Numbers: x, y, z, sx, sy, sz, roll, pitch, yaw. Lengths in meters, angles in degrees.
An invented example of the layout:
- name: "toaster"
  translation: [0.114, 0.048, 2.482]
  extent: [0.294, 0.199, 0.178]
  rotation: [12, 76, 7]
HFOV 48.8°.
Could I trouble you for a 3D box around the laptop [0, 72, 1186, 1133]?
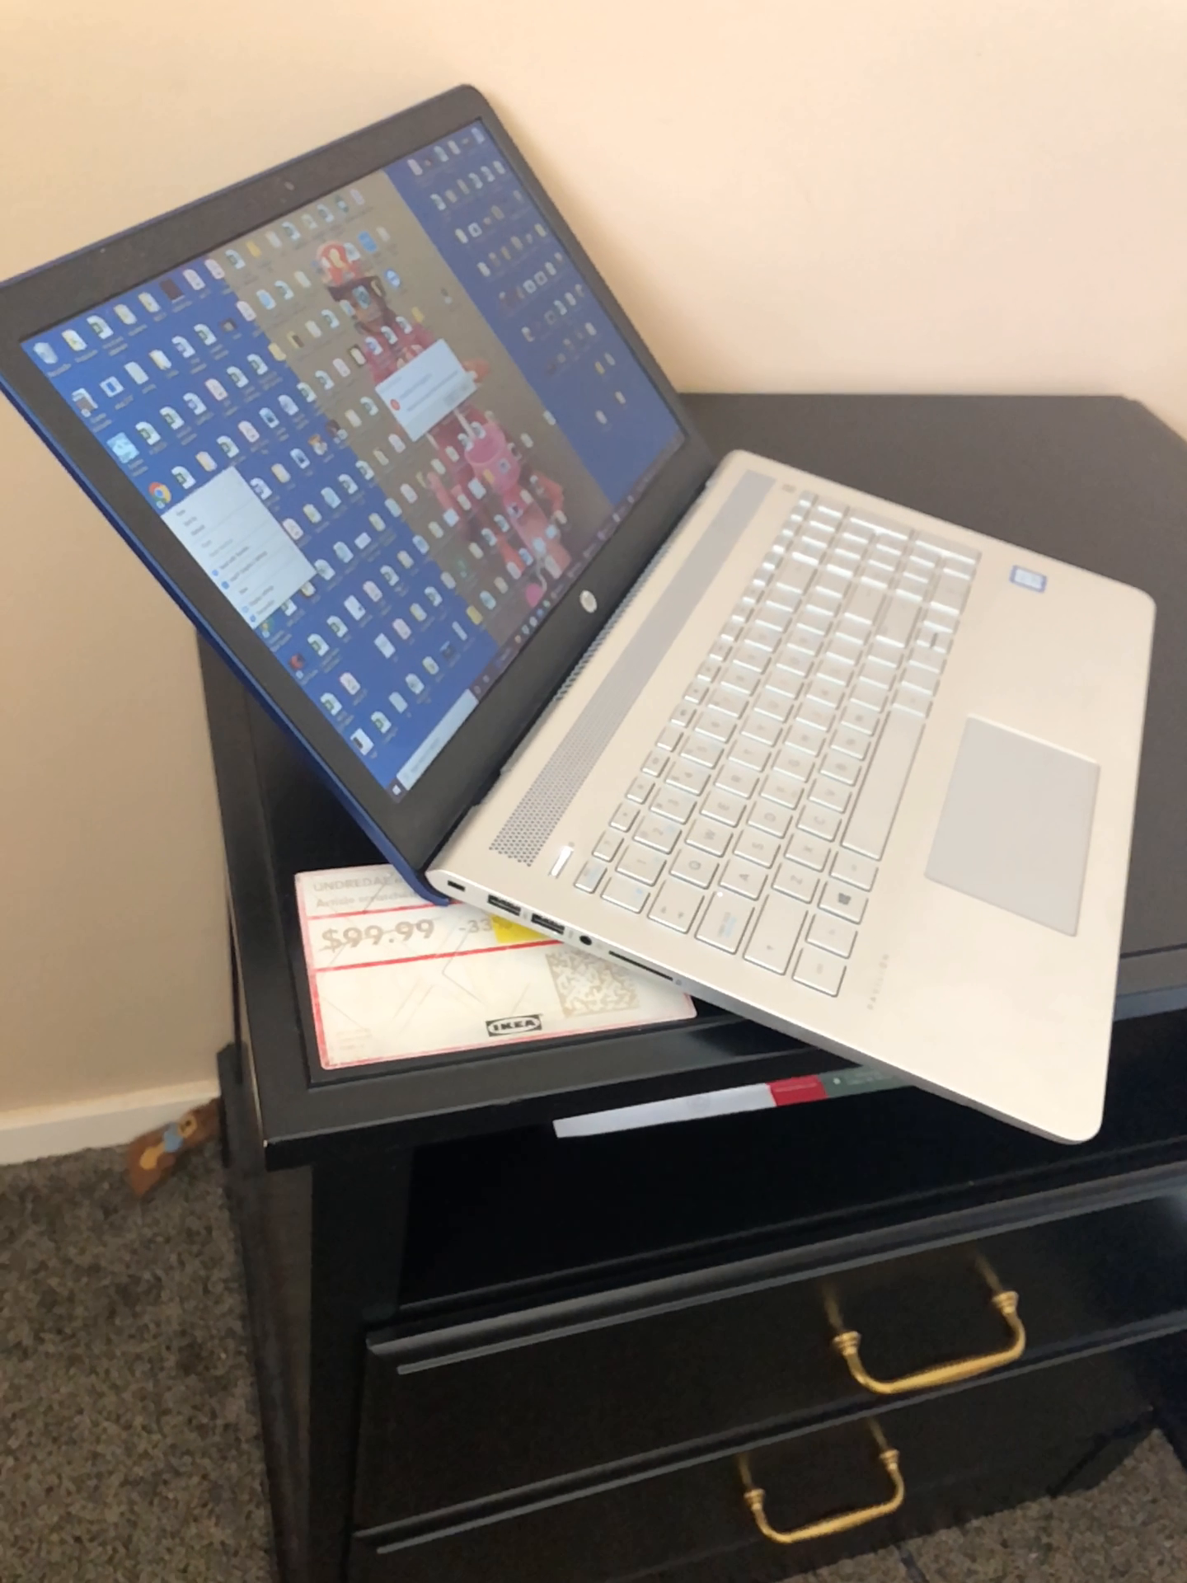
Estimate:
- name: "laptop"
  translation: [0.045, -0.126, 0.535]
  extent: [0.400, 0.141, 0.367]
  rotation: [22, 42, 9]
